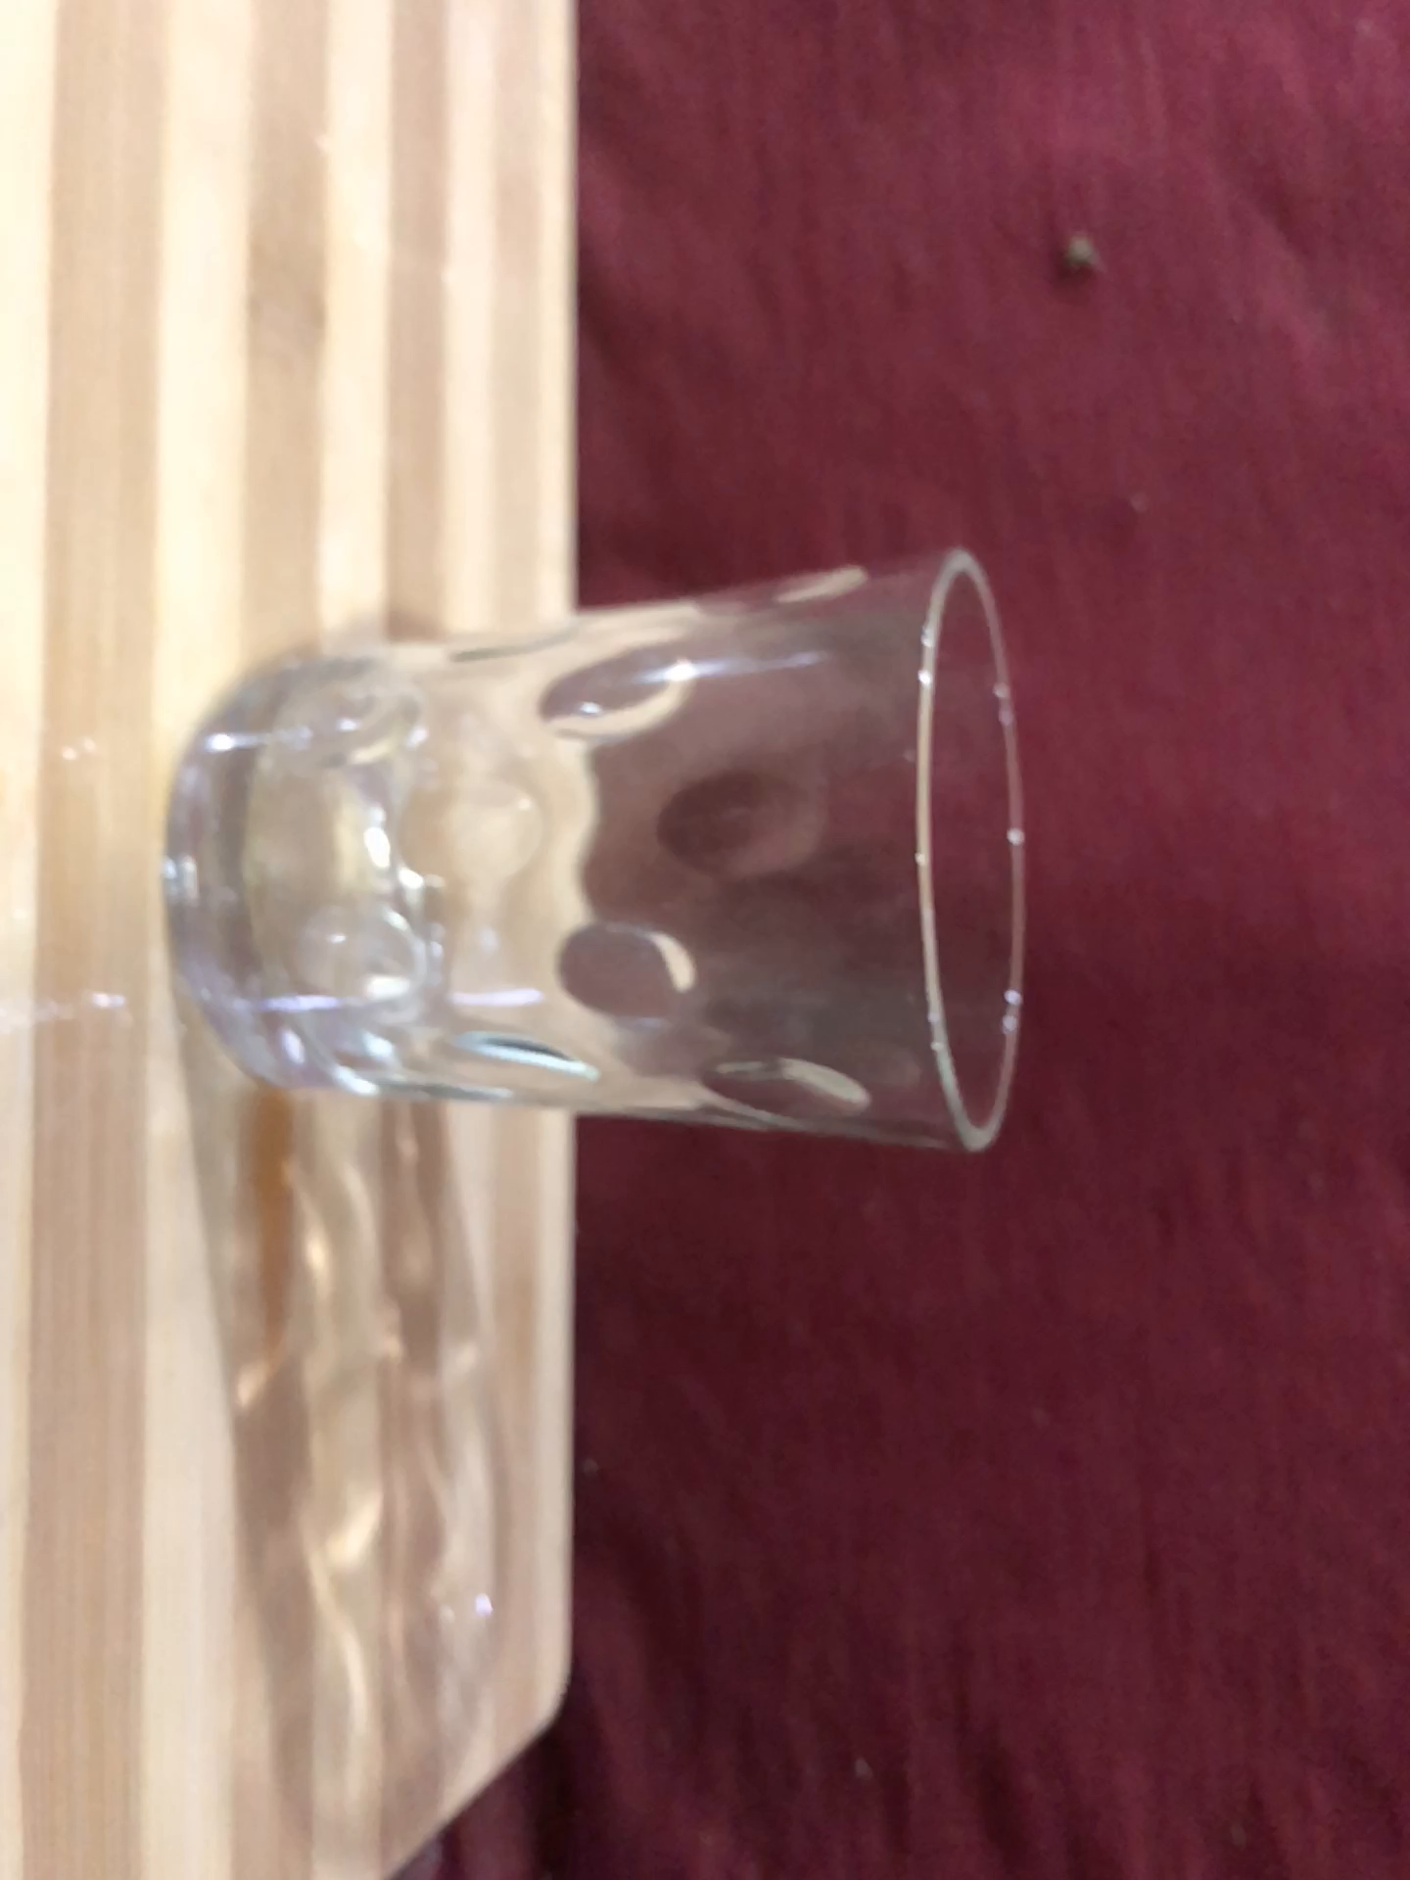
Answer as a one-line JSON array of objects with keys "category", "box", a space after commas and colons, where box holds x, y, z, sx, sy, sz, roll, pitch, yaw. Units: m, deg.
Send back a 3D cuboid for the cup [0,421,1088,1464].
[{"category": "cup", "box": [-0.011, -0.002, 0.232, 0.100, 0.119, 0.100, -2, 90, -74]}]
